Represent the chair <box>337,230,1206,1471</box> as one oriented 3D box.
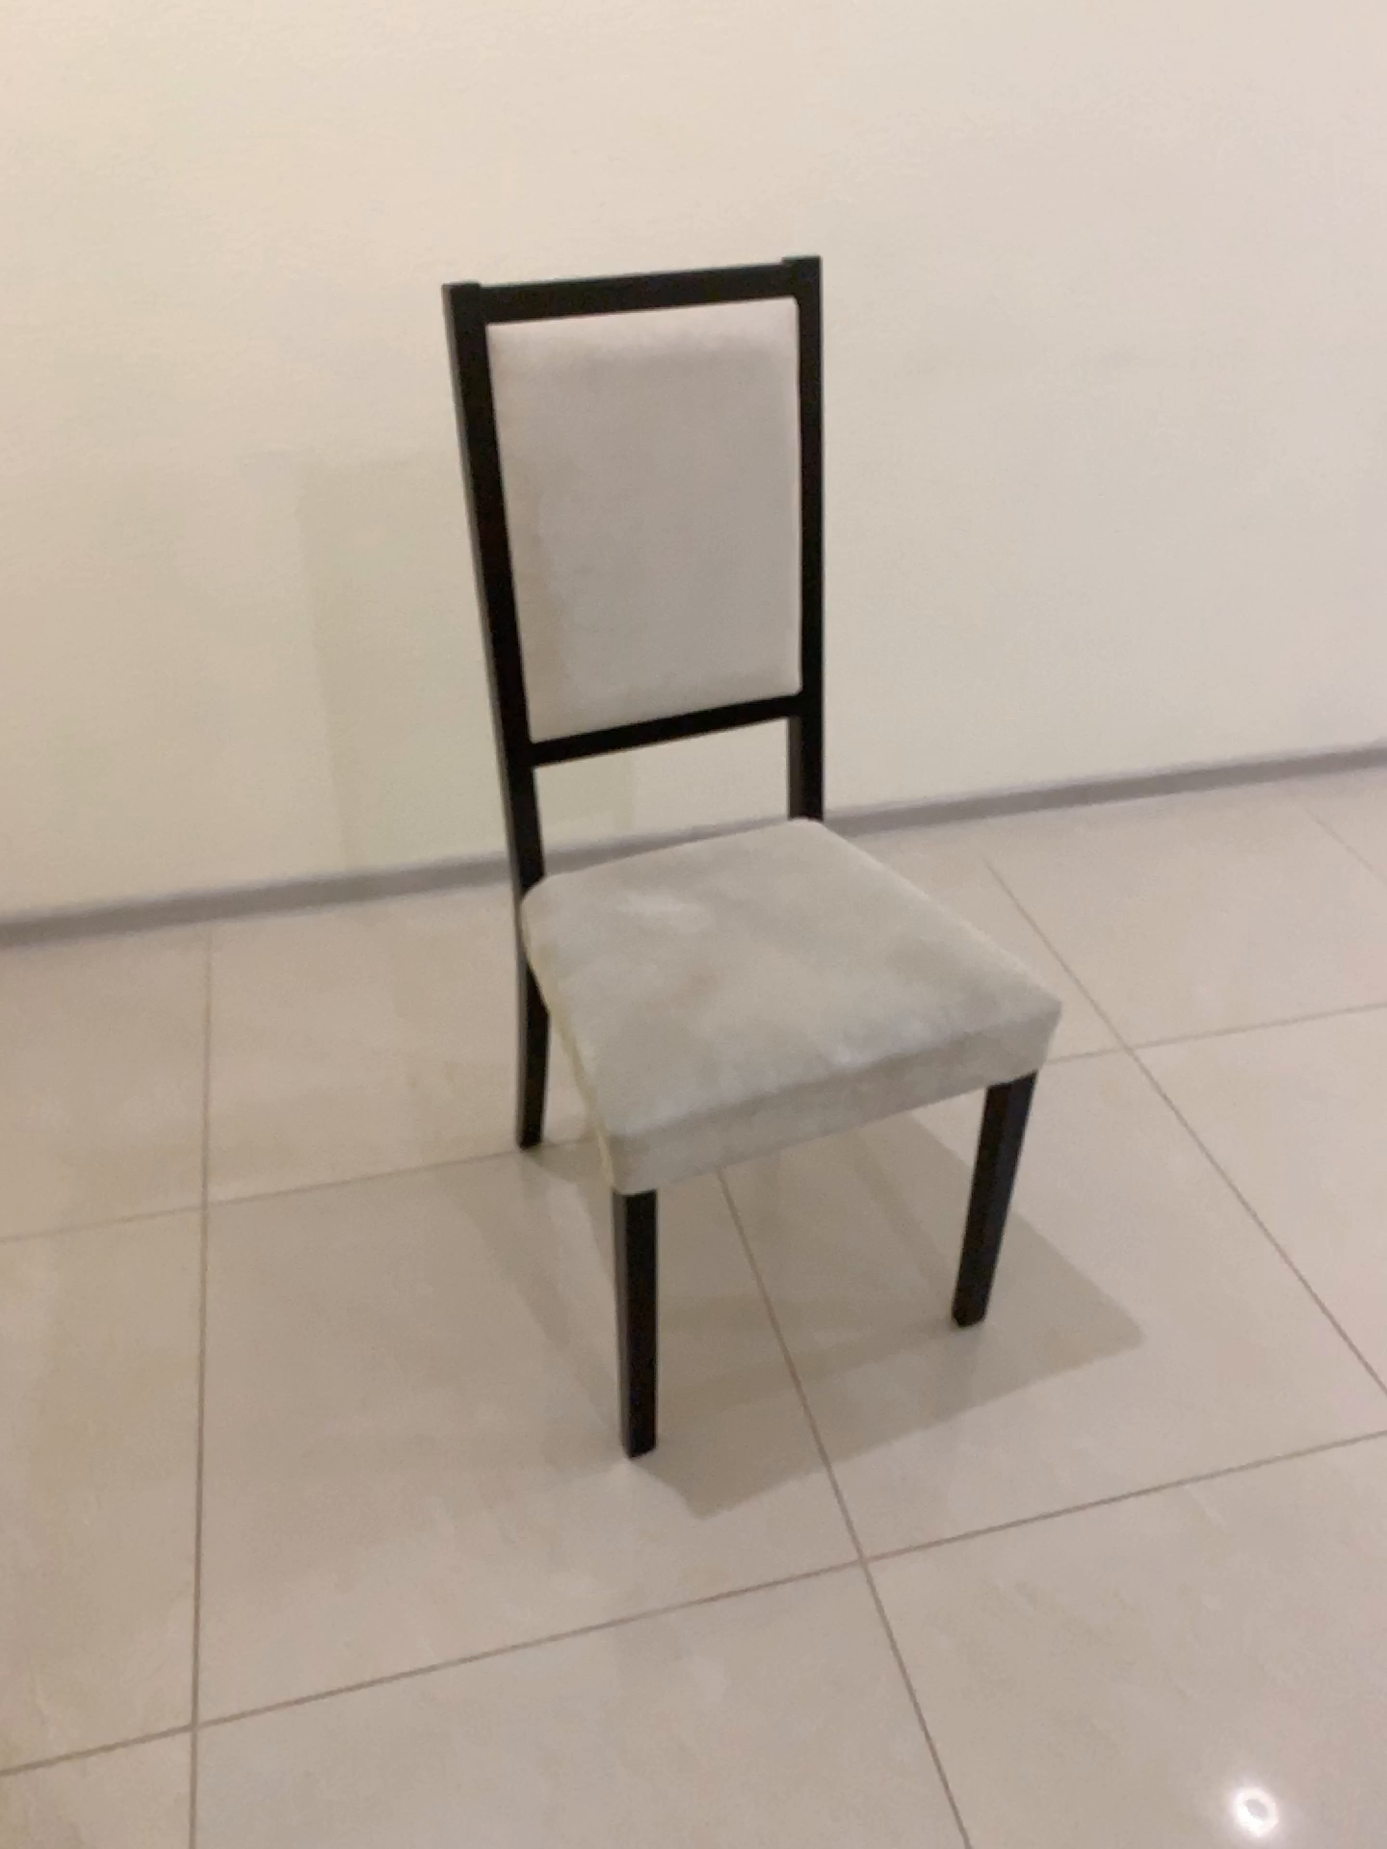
[{"bbox_3d":[0.035,-0.065,1.361,0.480,0.964,0.513,-15,38,-18],"label":"chair"}]
